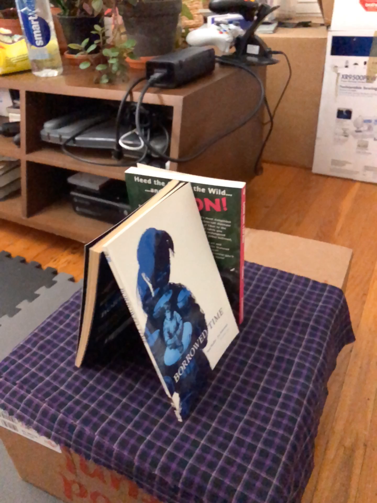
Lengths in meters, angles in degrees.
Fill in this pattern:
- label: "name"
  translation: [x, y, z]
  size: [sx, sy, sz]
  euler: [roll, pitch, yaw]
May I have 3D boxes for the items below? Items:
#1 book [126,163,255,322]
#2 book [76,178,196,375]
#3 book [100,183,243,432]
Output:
- label: "book"
  translation: [0.007, -0.006, 0.497]
  size: [0.140, 0.189, 0.020]
  euler: [14, 43, 23]
- label: "book"
  translation: [-0.060, 0.031, 0.458]
  size: [0.010, 0.199, 0.151]
  euler: [33, 45, 13]
- label: "book"
  translation: [-0.002, 0.052, 0.418]
  size: [0.010, 0.199, 0.141]
  euler: [-4, 27, 34]
